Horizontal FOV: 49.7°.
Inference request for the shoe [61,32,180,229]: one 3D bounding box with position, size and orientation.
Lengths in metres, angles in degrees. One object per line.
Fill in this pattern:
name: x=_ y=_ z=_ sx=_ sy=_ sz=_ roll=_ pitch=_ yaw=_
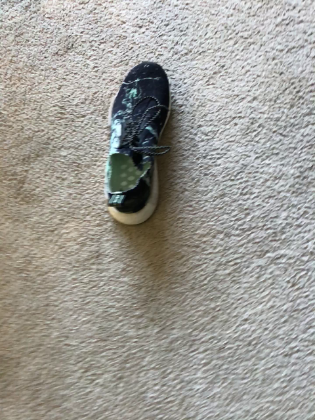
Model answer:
shoe: x=-0.051 y=-0.123 z=0.556 sx=0.131 sy=0.100 sz=0.287 roll=7 pitch=85 yaw=8
